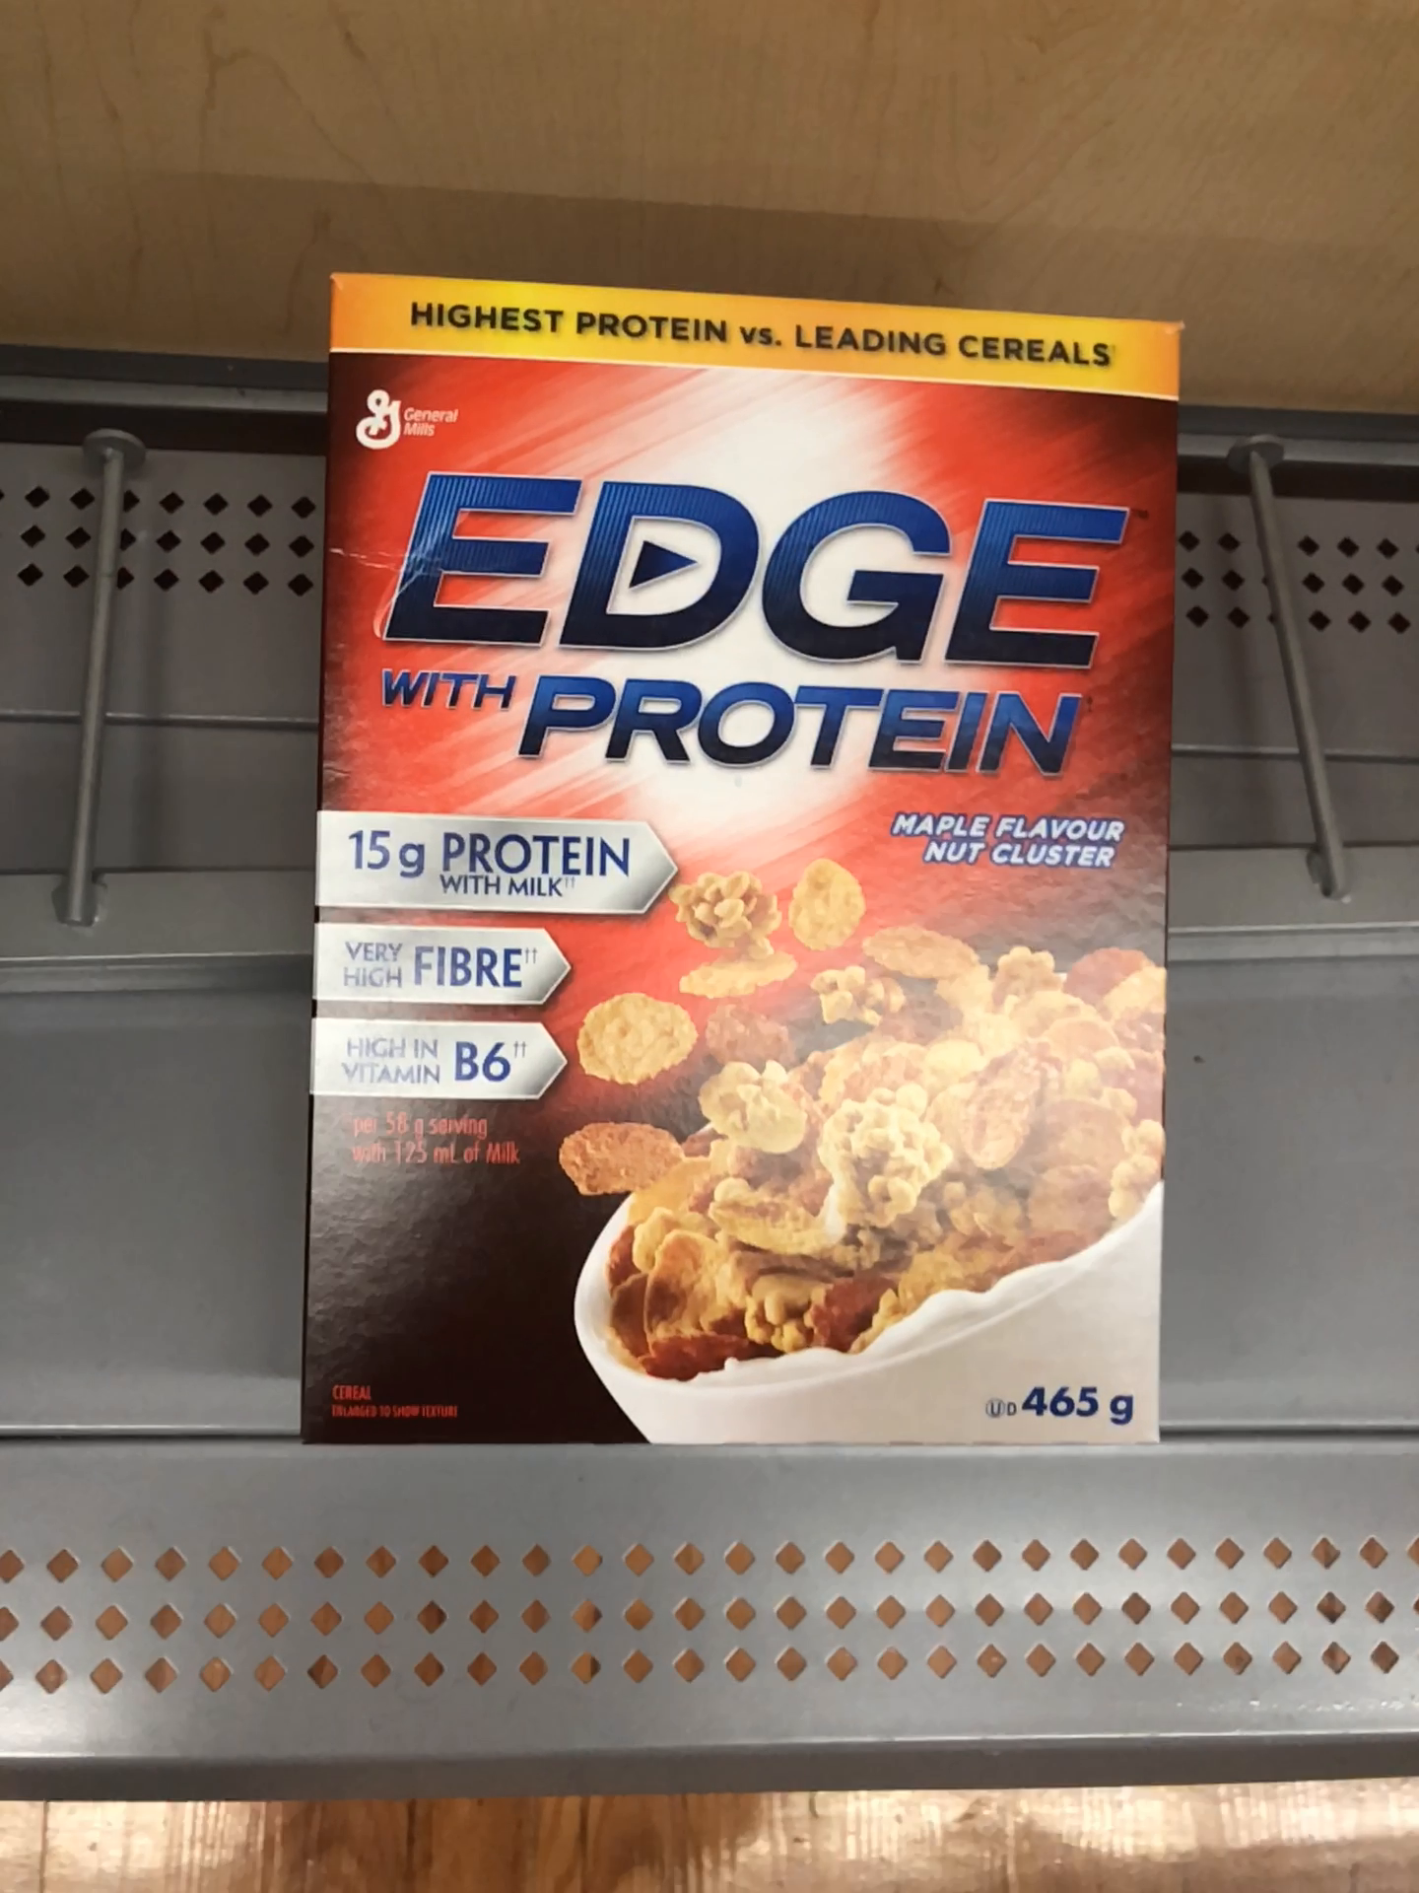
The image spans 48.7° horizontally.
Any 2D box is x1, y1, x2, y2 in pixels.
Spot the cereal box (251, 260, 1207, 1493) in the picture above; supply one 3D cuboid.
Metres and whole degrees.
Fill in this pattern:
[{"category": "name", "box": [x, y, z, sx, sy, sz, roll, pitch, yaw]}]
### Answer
[{"category": "cereal box", "box": [0.006, -0.014, 0.373, 0.200, 0.070, 0.260, 2, 87, -4]}]
